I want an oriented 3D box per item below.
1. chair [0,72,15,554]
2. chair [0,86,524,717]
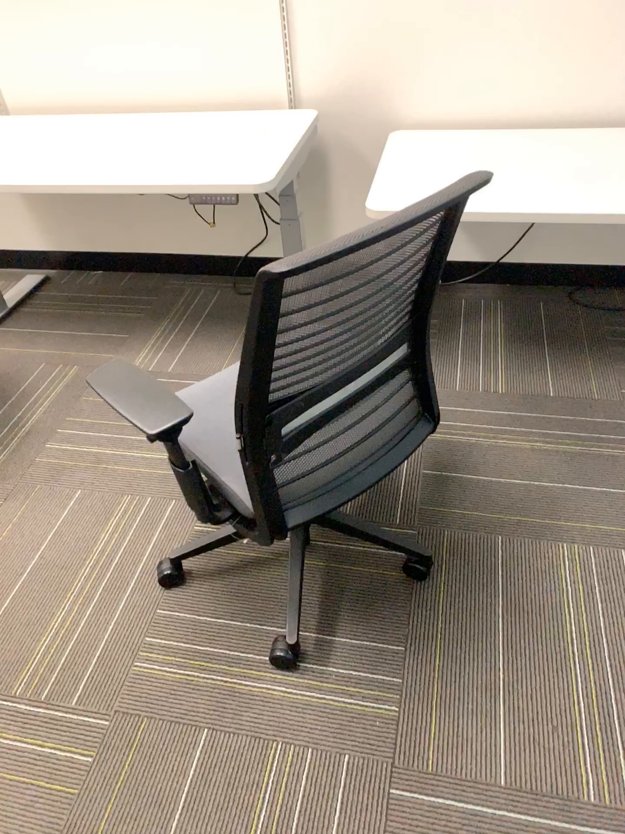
[{"bbox_3d":[-1.494,-0.327,1.839,0.701,0.994,0.734,-27,44,-24],"label":"chair"},{"bbox_3d":[-0.077,-0.051,1.356,0.643,0.994,0.641,30,51,35],"label":"chair"}]
